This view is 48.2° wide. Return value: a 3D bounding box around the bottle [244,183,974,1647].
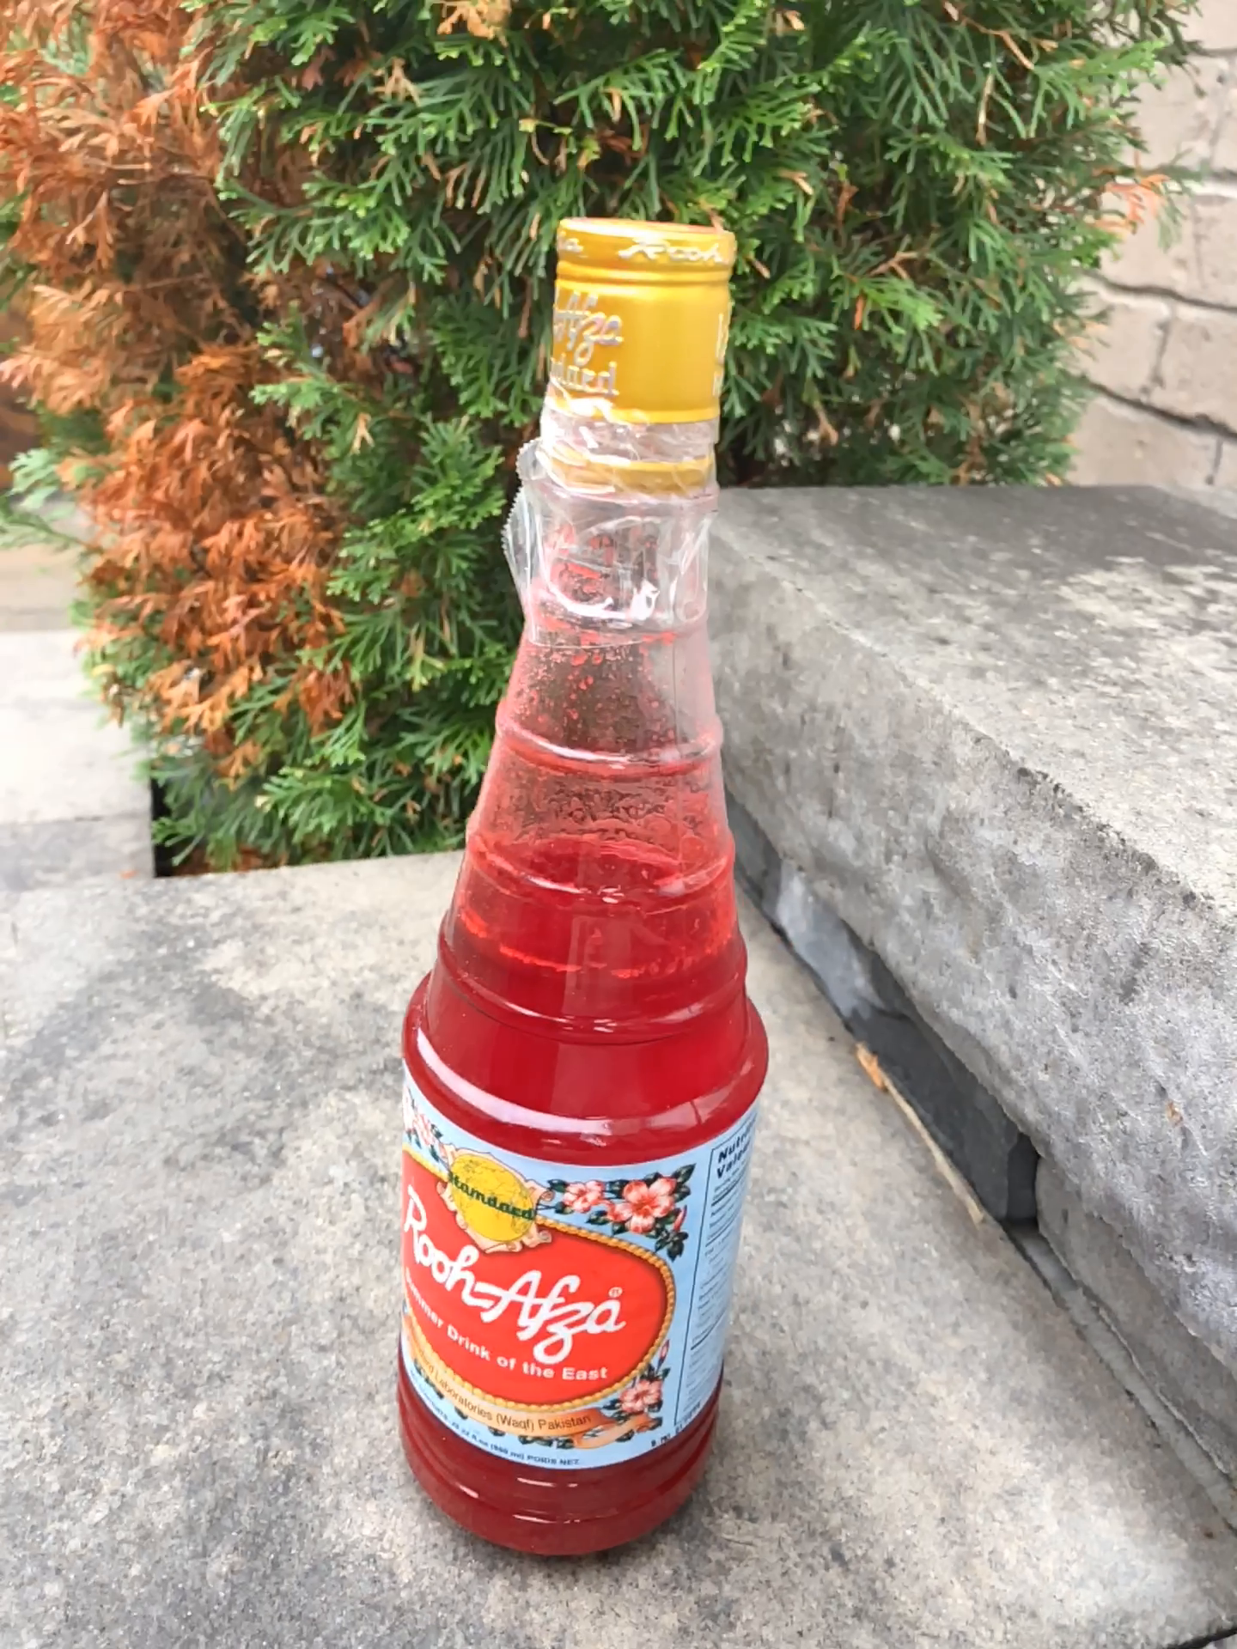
[{"bbox_3d":[-0.009,0.025,0.286,0.090,0.279,0.080,19,30,27],"label":"bottle"}]
